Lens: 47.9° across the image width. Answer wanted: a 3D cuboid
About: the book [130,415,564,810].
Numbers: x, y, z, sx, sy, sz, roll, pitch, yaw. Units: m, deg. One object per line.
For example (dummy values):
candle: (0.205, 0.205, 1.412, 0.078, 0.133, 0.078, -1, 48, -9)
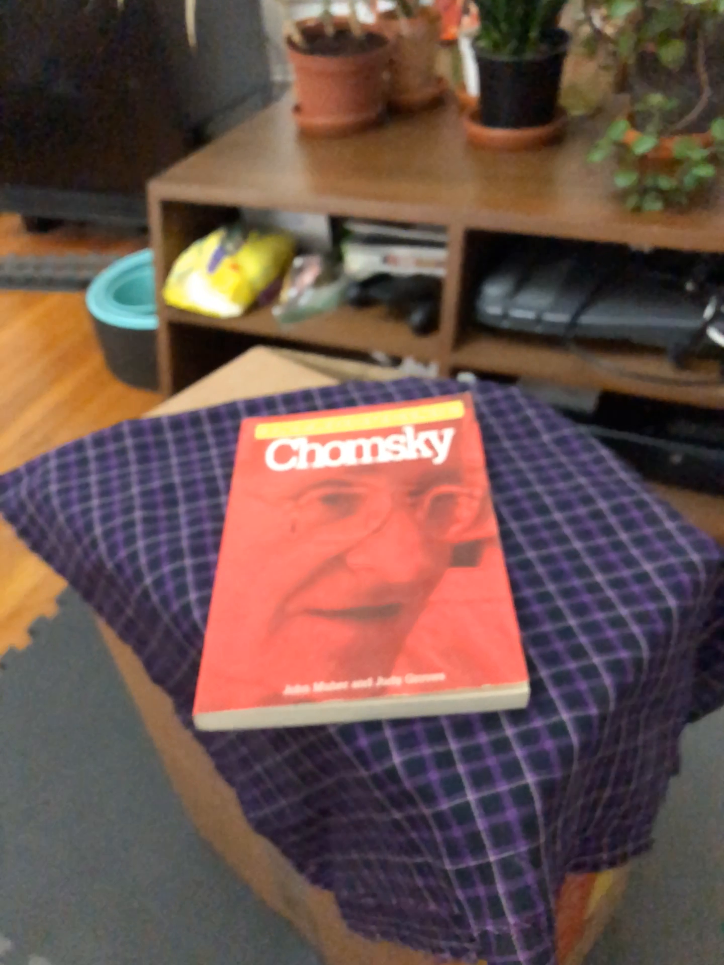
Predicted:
book: (-0.009, 0.049, 0.436, 0.180, 0.020, 0.241, -5, 40, 2)
